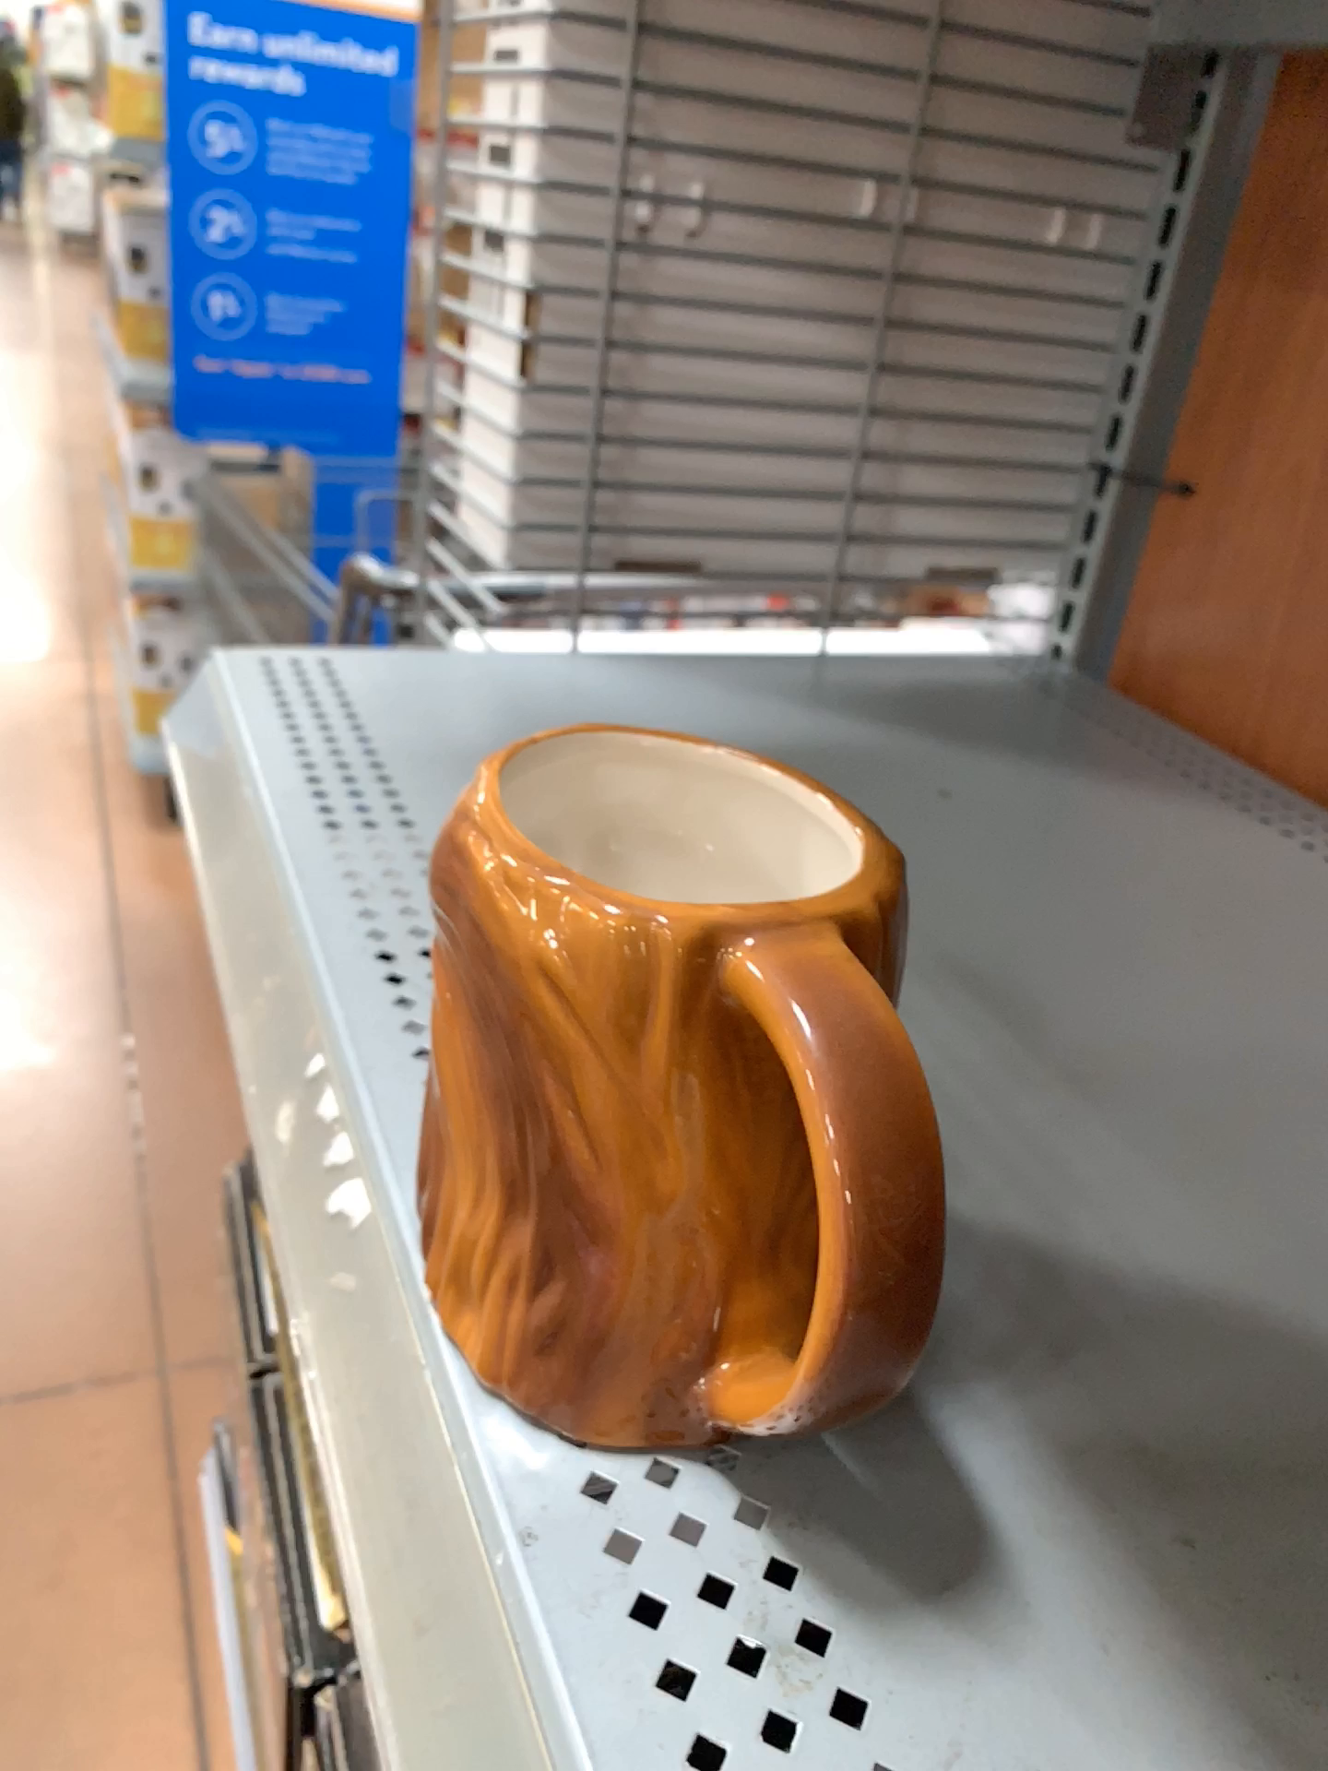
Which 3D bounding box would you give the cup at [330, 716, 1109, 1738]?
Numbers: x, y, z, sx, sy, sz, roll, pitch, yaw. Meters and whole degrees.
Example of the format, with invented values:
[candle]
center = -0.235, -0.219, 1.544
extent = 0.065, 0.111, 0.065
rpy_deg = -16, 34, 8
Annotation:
[cup]
center = -0.007, 0.055, 0.285
extent = 0.097, 0.138, 0.132
rpy_deg = -3, 29, -22
